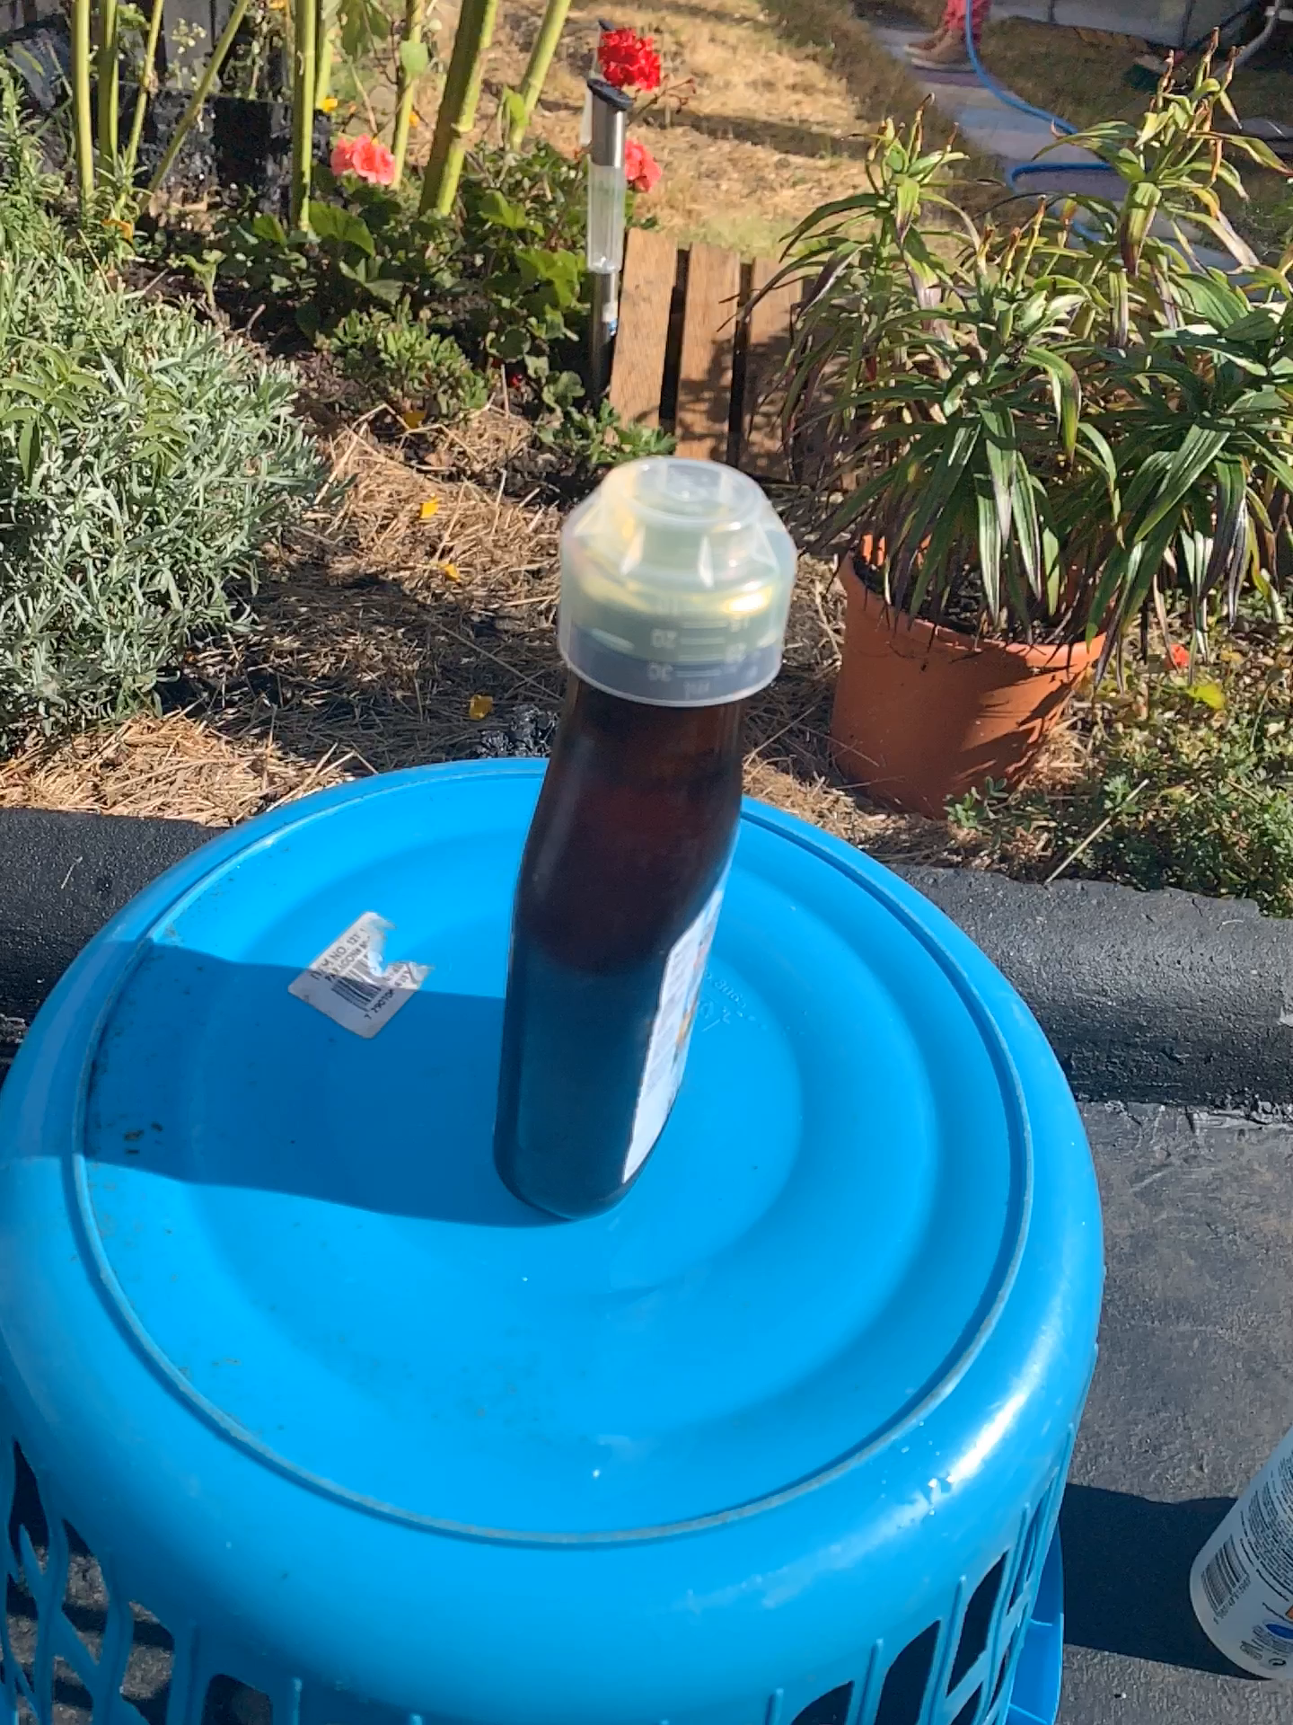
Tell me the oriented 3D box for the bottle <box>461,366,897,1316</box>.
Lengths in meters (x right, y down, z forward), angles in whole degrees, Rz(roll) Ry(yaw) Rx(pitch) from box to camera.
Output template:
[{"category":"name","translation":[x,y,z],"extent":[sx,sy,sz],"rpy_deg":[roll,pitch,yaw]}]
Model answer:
[{"category":"bottle","translation":[0.002,0.004,0.301],"extent":[0.050,0.198,0.081],"rpy_deg":[17,38,10]}]
